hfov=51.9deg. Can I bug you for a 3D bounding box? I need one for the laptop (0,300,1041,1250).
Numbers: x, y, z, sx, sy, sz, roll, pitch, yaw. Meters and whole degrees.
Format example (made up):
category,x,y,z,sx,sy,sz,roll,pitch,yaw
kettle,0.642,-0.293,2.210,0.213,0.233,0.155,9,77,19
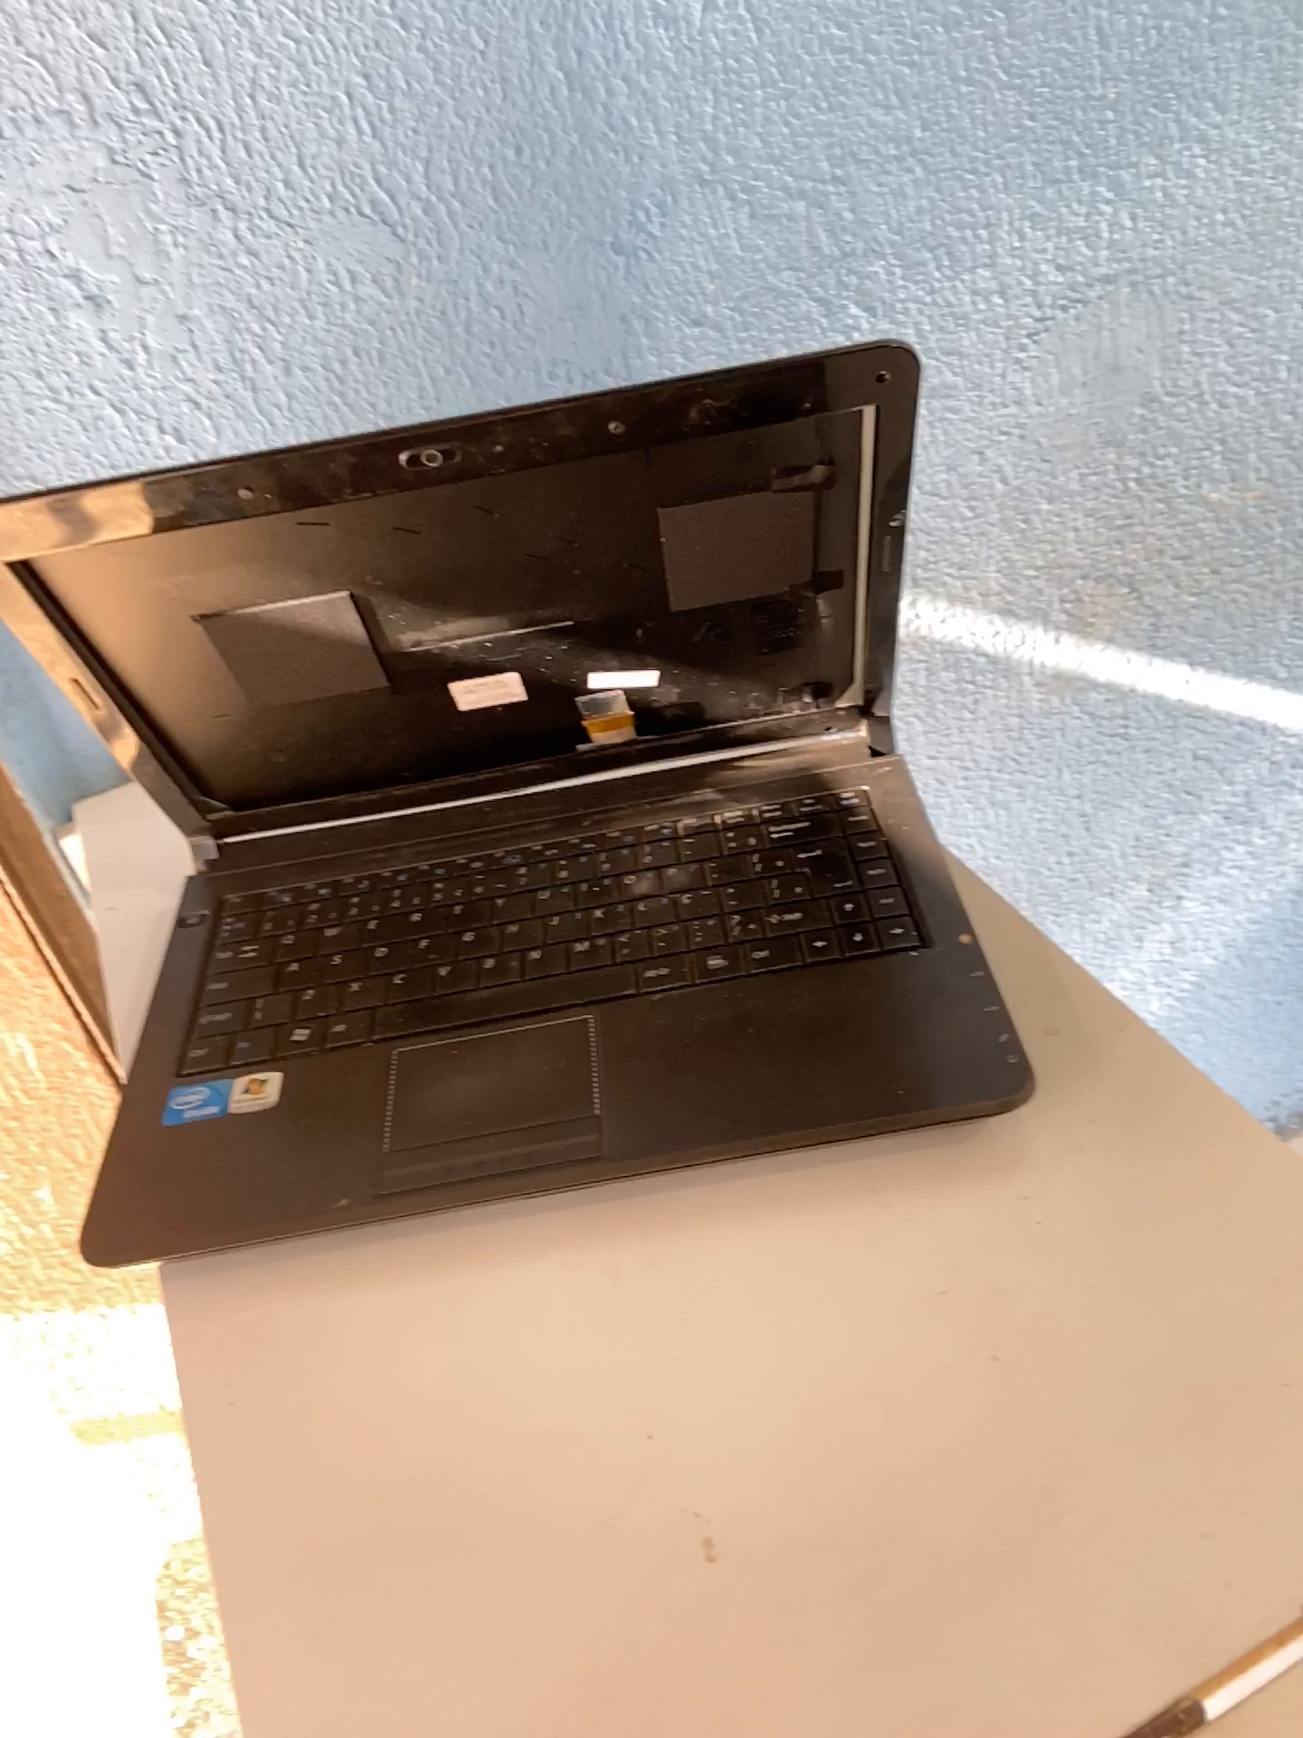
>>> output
category,x,y,z,sx,sy,sz,roll,pitch,yaw
laptop,-0.056,-0.039,0.485,0.330,0.206,0.207,-10,38,2
